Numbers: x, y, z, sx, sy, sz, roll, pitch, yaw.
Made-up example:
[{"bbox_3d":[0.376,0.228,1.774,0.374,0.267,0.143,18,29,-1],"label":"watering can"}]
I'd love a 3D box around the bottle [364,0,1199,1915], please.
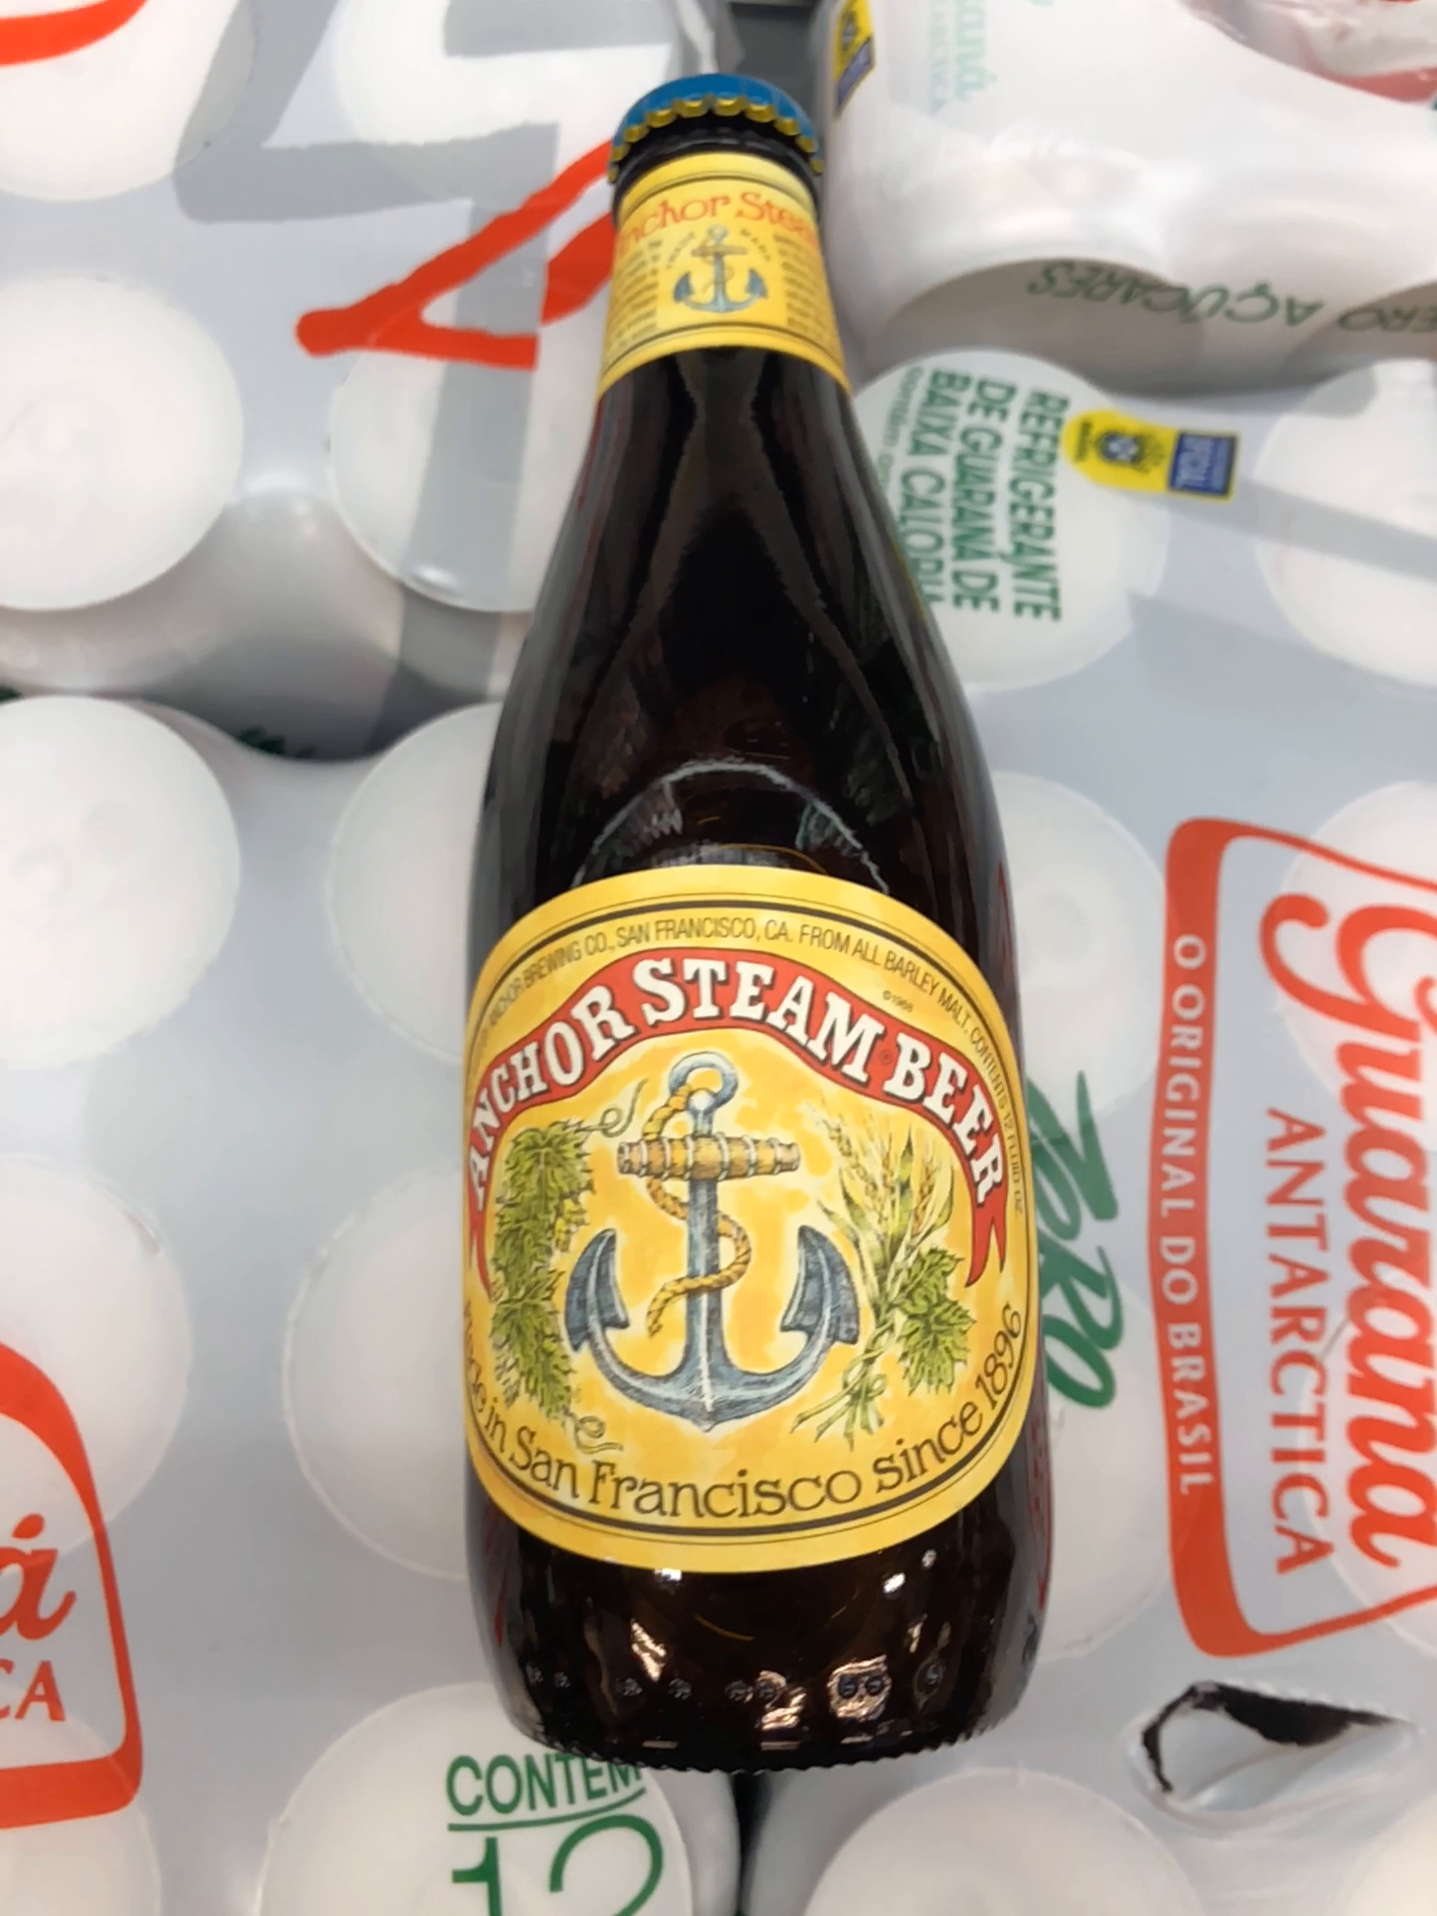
[{"bbox_3d":[0.001,-0.022,0.187,0.070,0.060,0.220,-3,80,-1],"label":"bottle"}]
